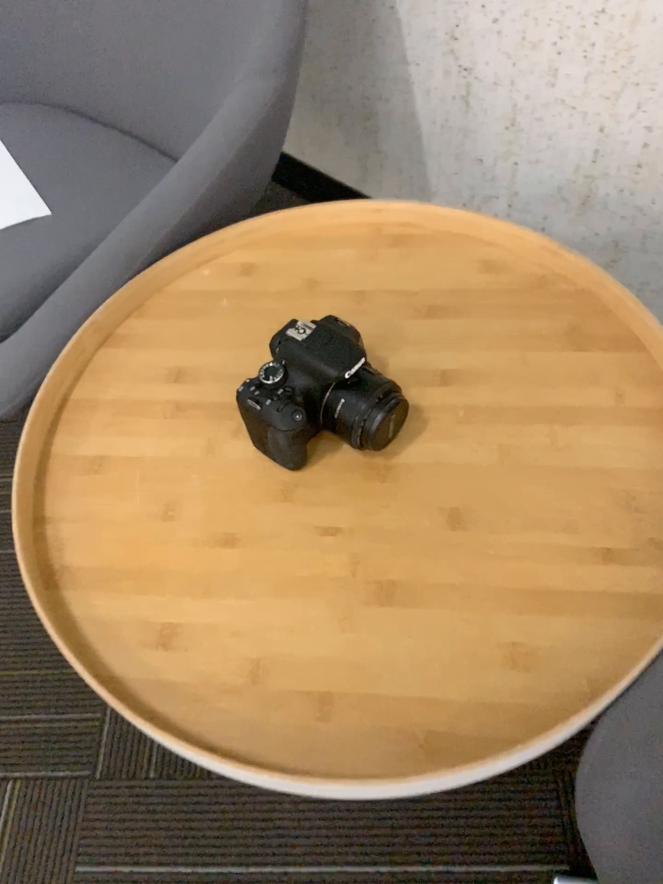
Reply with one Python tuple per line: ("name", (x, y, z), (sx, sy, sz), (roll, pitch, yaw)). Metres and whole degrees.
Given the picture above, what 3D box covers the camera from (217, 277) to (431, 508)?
("camera", (-0.001, -0.045, 0.597), (0.117, 0.100, 0.133), (32, 65, 24))
